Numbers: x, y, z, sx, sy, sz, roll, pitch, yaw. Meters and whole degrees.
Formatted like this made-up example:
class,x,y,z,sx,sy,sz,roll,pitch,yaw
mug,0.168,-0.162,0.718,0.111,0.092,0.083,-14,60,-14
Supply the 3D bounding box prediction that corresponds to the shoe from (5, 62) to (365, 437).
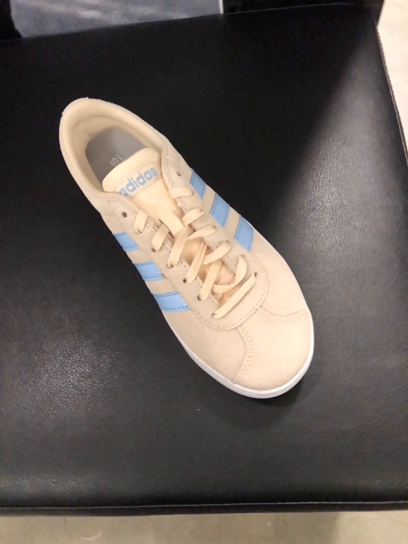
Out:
class,x,y,z,sx,sy,sz,roll,pitch,yaw
shoe,-0.024,-0.024,0.335,0.100,0.090,0.260,-37,67,-10
